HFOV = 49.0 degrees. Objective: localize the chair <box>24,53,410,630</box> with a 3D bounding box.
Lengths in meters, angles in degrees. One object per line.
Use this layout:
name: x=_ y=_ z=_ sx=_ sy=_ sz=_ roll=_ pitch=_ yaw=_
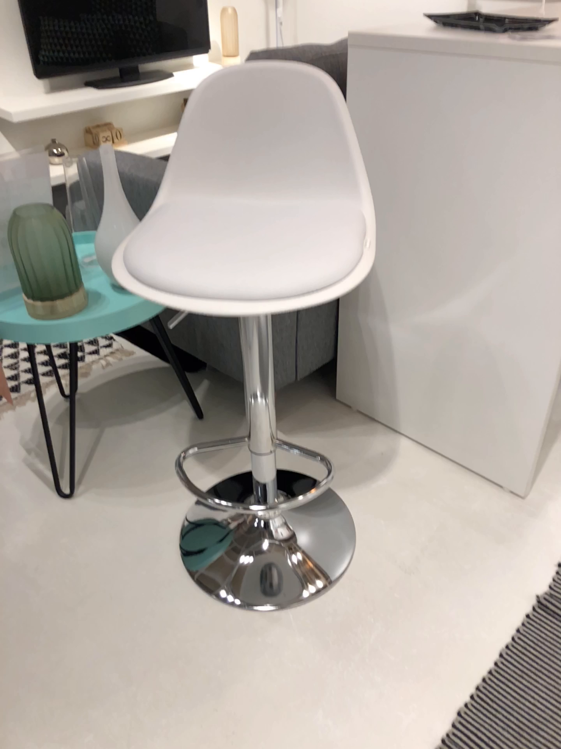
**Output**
chair: x=-0.034 y=-0.040 z=1.086 sx=0.410 sy=0.883 sz=0.423 roll=7 pitch=36 yaw=12
